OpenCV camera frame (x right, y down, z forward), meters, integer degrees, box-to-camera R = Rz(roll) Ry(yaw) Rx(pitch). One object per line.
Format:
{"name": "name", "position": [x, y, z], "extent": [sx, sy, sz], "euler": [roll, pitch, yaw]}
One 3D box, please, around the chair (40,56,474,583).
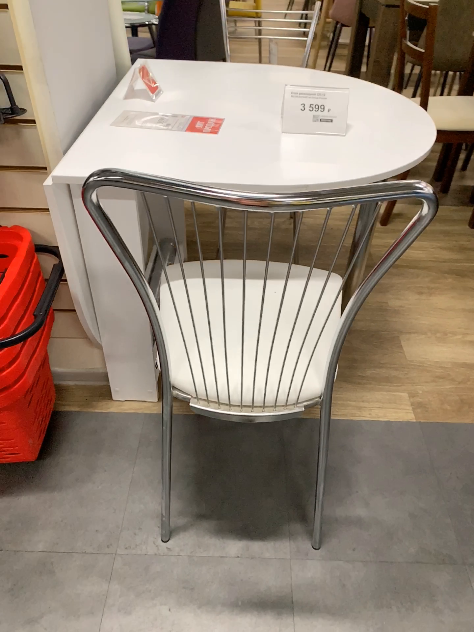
{"name": "chair", "position": [0.022, 0.062, 1.011], "extent": [0.450, 0.954, 0.553], "euler": [1, 40, 0]}
